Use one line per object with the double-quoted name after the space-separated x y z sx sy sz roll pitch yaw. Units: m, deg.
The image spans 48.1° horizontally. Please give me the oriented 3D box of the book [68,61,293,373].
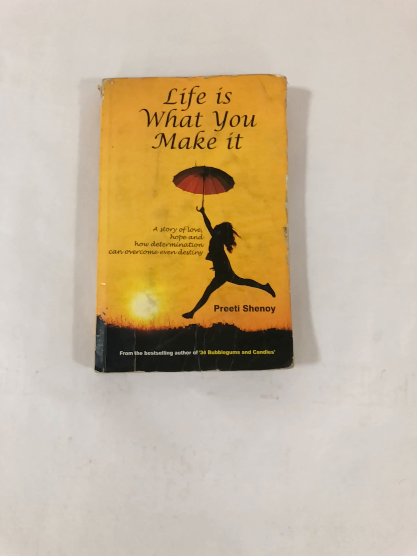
-0.019 -0.044 0.316 0.140 0.020 0.210 -1 81 -2 "book"
